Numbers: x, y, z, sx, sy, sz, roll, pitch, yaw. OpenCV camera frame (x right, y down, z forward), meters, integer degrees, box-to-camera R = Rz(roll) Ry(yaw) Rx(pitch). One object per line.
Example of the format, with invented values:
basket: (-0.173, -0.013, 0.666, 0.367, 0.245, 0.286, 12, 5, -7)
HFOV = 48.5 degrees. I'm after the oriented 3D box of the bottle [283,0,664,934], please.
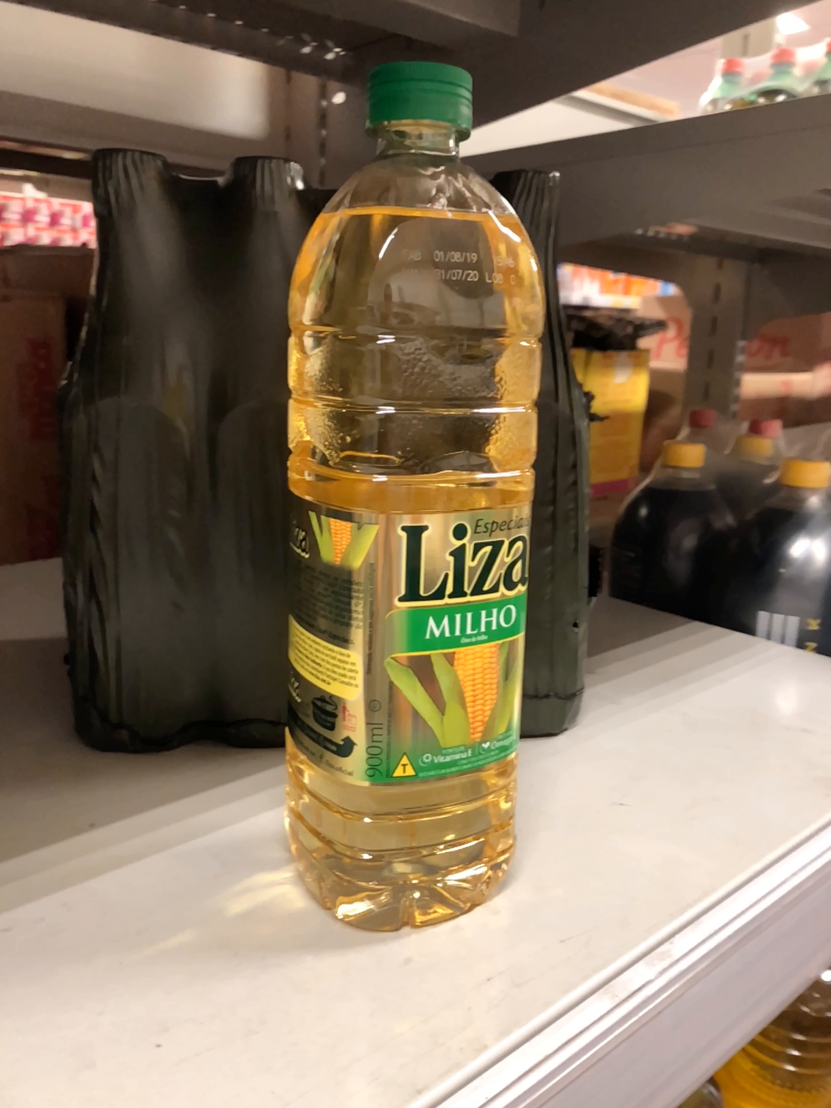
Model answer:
bottle: (0.010, -0.023, 0.286, 0.080, 0.249, 0.070, -7, 16, -31)
